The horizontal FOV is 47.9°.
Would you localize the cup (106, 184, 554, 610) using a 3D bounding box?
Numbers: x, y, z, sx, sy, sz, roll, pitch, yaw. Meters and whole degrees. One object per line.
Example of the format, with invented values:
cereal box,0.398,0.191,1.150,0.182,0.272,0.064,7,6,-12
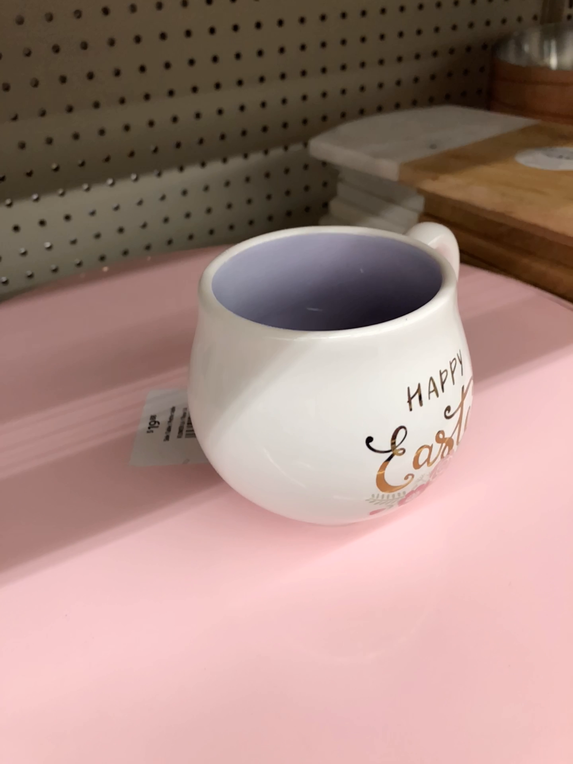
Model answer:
cup,0.022,-0.008,0.239,0.090,0.080,0.130,24,43,34
